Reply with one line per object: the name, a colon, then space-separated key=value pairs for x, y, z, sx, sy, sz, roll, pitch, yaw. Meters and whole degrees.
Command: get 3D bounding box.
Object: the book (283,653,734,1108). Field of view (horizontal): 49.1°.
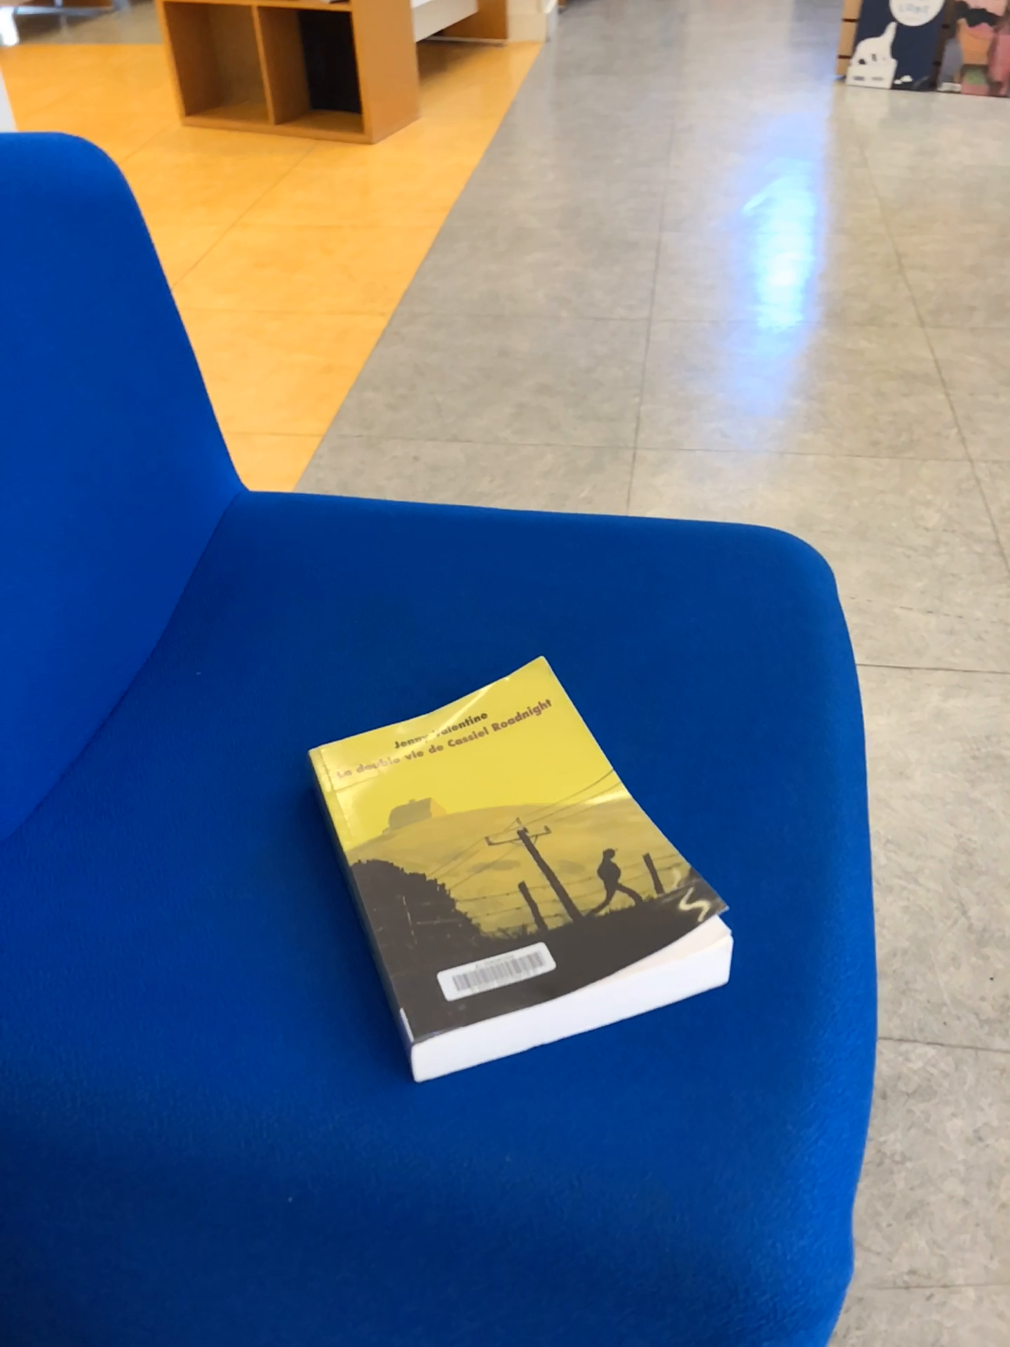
book: x=-0.010 y=0.080 z=0.526 sx=0.145 sy=0.040 sz=0.215 roll=-15 pitch=37 yaw=-14
